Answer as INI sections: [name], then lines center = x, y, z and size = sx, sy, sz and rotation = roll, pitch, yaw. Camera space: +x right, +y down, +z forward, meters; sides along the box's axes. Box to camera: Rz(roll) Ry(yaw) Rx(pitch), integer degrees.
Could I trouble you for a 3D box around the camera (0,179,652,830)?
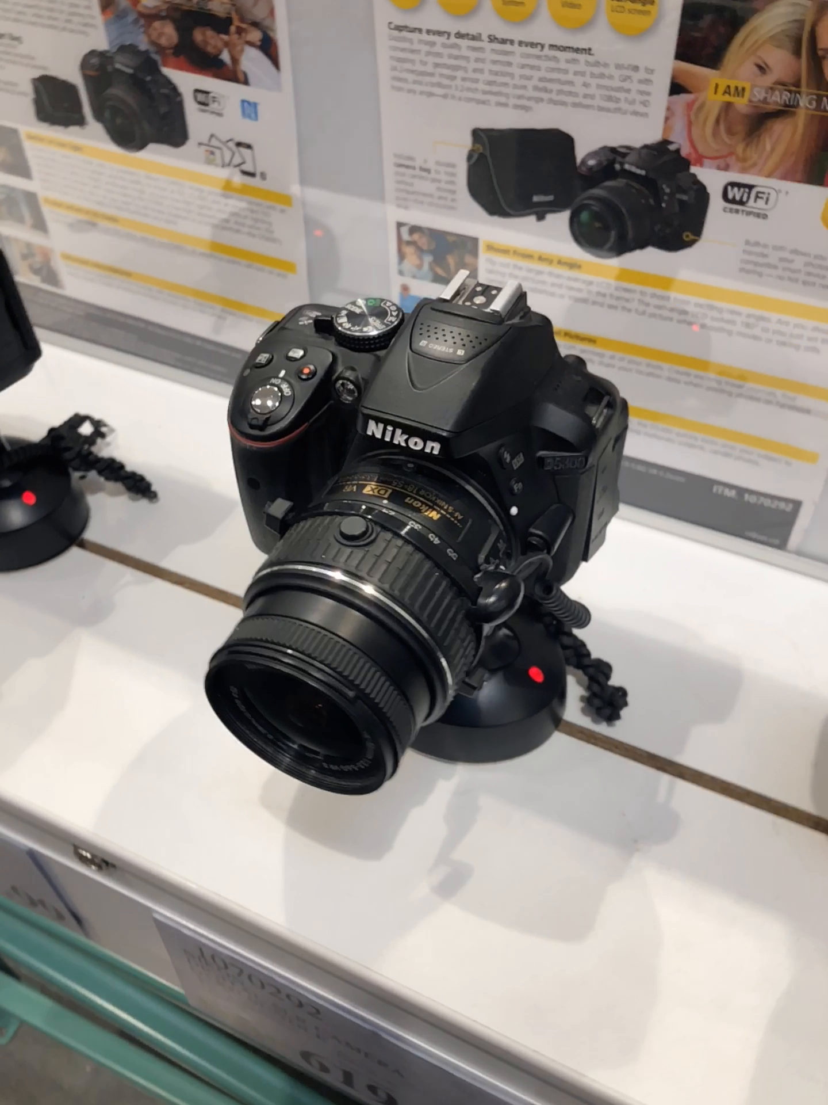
[camera]
center = -0.018, -0.026, 0.277
size = 0.130, 0.089, 0.151
rotation = 17, 49, 16
